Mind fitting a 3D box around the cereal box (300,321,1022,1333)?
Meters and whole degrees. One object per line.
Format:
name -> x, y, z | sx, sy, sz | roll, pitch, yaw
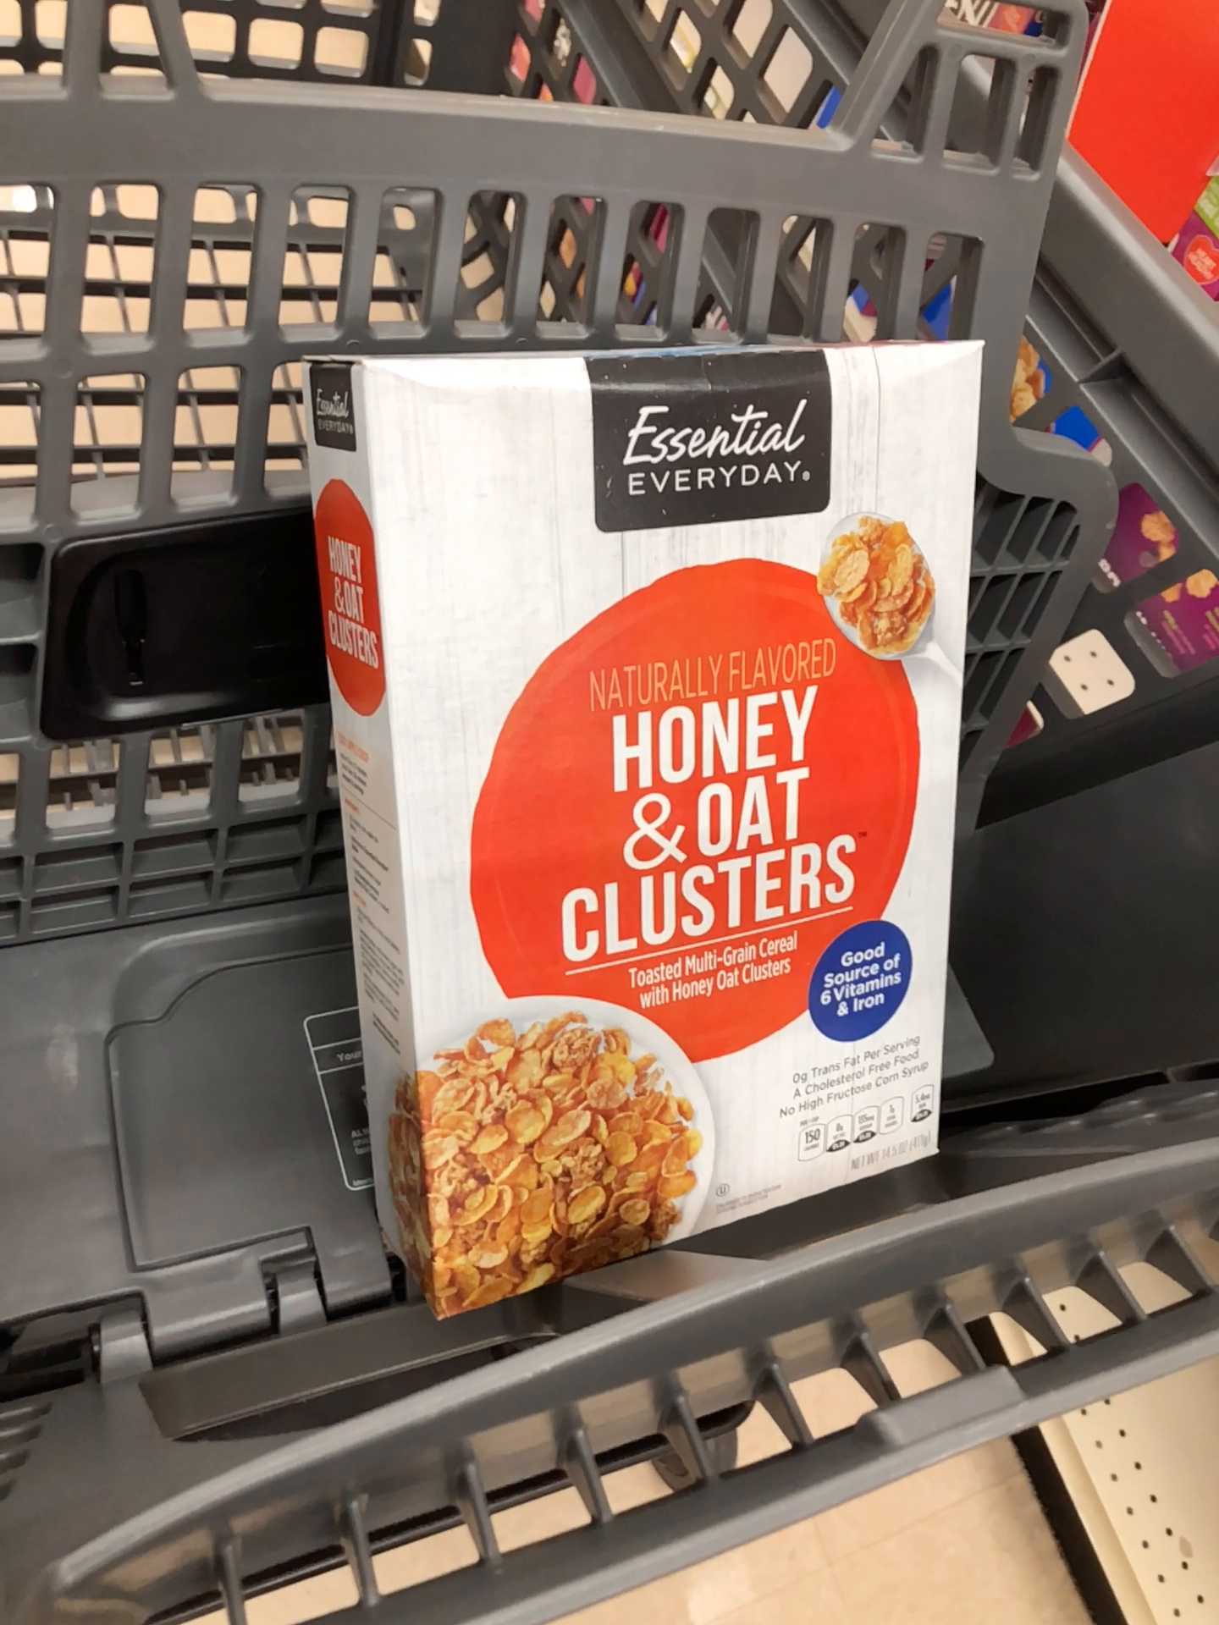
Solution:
cereal box -> 0.019, -0.003, 0.422 | 0.190, 0.280, 0.070 | -11, 22, -25
